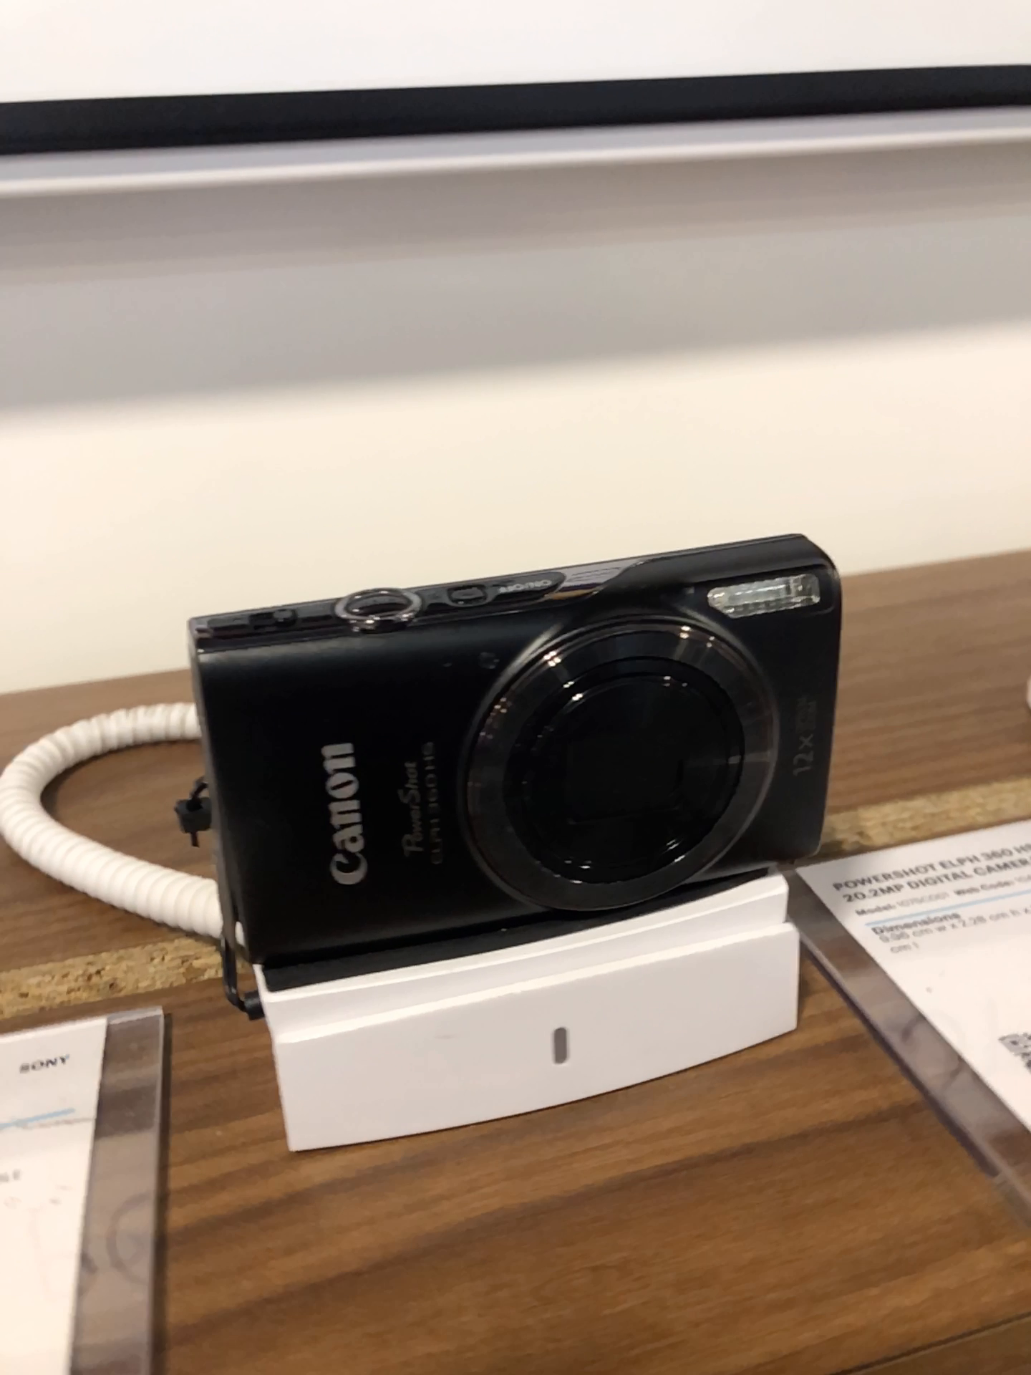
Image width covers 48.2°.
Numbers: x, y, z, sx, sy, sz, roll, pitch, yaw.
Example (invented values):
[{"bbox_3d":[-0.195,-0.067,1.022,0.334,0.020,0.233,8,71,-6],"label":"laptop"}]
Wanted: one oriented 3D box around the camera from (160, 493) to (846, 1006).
[{"bbox_3d":[-0.001,0.007,0.186,0.100,0.060,0.030,-9,22,-13],"label":"camera"}]
